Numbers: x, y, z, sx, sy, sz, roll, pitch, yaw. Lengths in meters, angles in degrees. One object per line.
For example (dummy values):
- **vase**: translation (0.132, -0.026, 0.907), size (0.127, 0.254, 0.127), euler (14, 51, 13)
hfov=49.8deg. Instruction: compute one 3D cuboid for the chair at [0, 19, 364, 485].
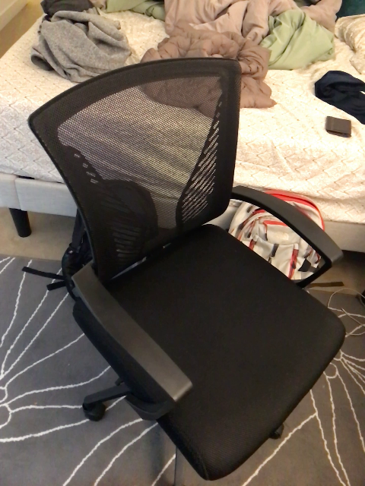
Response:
- **chair**: translation (0.066, 0.095, 0.862), size (0.623, 0.834, 0.582), euler (-27, 53, -27)
